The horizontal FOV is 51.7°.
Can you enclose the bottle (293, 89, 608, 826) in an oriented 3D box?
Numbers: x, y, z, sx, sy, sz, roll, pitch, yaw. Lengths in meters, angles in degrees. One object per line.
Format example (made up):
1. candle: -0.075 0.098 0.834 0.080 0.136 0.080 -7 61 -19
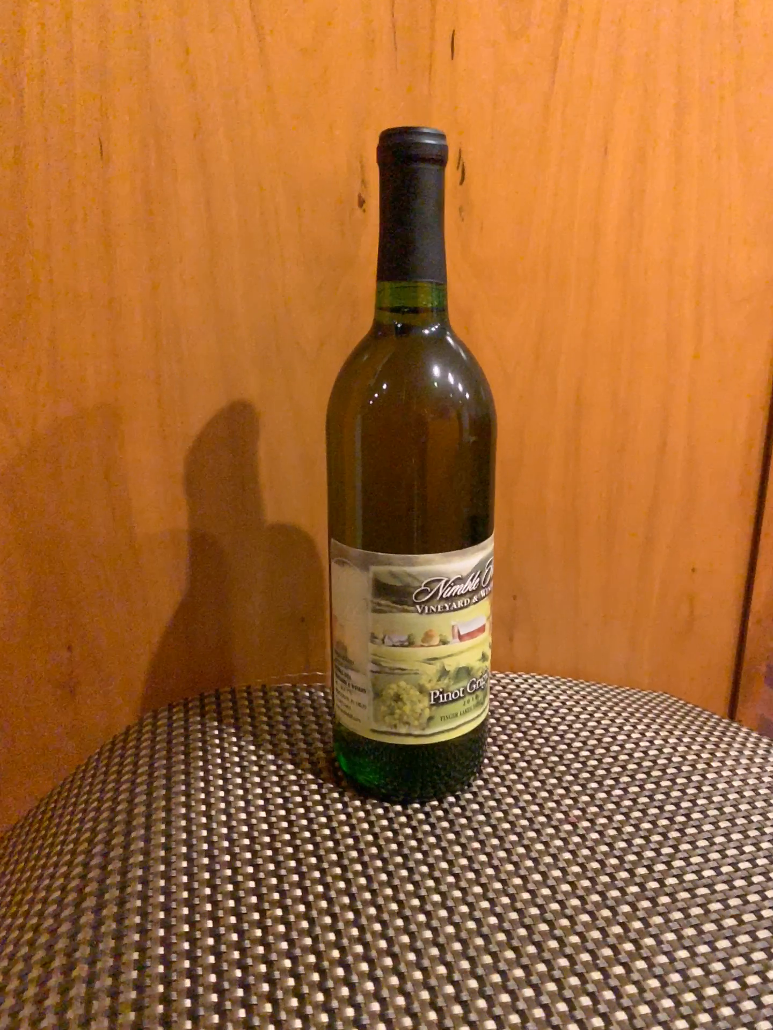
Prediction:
1. bottle: 0.022 -0.020 0.341 0.090 0.269 0.080 -9 19 -30
